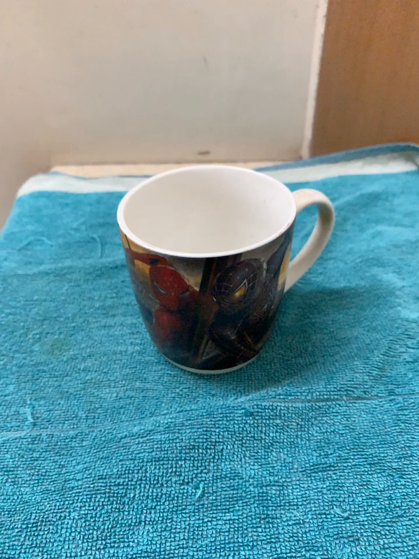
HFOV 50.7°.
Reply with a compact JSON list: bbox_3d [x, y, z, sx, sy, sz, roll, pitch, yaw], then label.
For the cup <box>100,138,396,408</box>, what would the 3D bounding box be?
[{"bbox_3d":[0.016,-0.010,0.243,0.120,0.089,0.081,-17,42,-19],"label":"cup"}]
